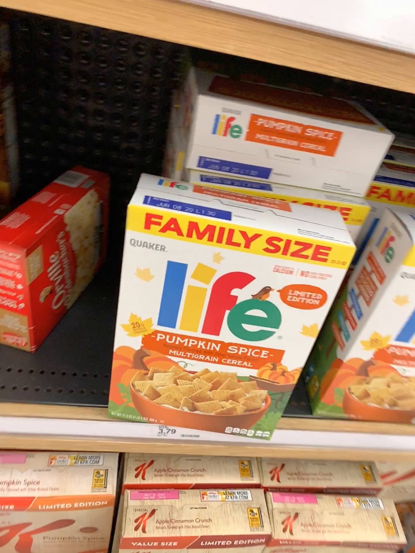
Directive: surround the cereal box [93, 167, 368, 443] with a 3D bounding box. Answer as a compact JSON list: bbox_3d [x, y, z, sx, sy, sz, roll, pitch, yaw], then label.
[{"bbox_3d":[0.004,0.043,0.425,0.200,0.249,0.070,11,33,-5],"label":"cereal box"}]
